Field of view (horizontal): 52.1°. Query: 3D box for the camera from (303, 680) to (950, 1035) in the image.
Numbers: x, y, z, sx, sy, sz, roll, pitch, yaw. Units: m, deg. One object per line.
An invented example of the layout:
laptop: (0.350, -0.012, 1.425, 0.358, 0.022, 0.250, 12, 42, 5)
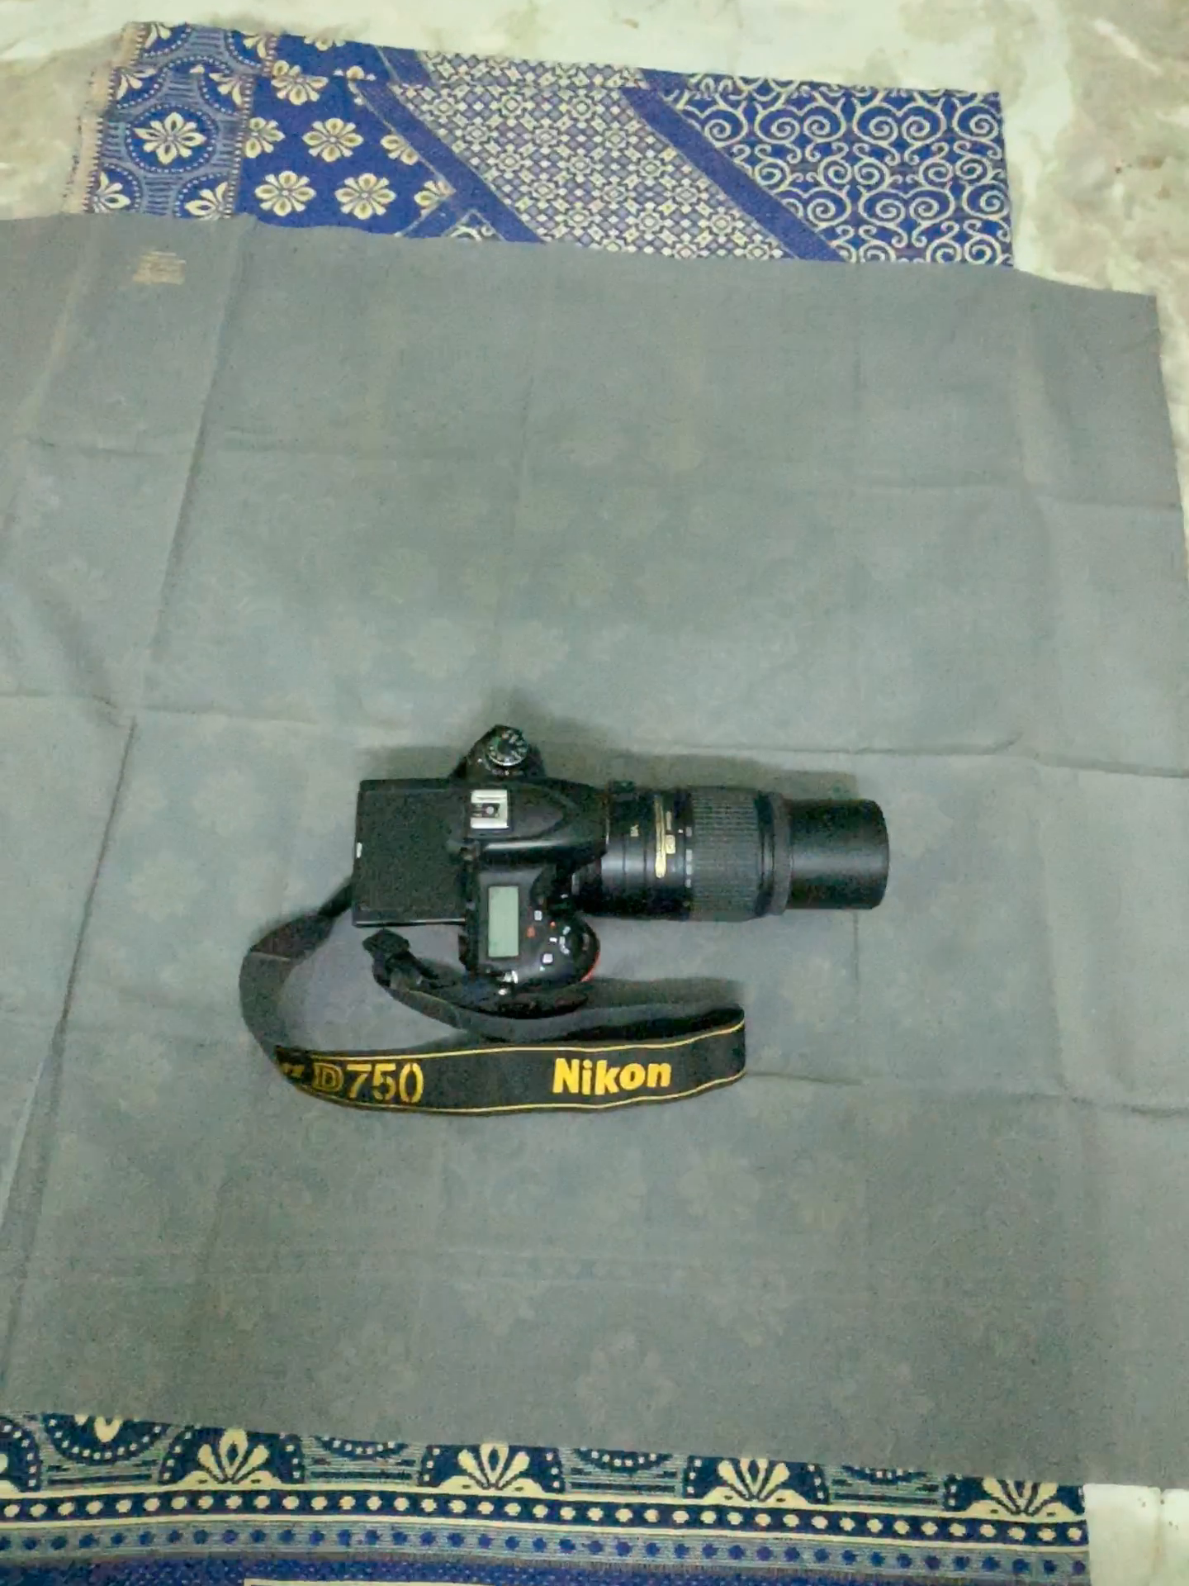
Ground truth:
camera: (0.016, 0.036, 0.618, 0.288, 0.110, 0.147, 1, 70, 1)
